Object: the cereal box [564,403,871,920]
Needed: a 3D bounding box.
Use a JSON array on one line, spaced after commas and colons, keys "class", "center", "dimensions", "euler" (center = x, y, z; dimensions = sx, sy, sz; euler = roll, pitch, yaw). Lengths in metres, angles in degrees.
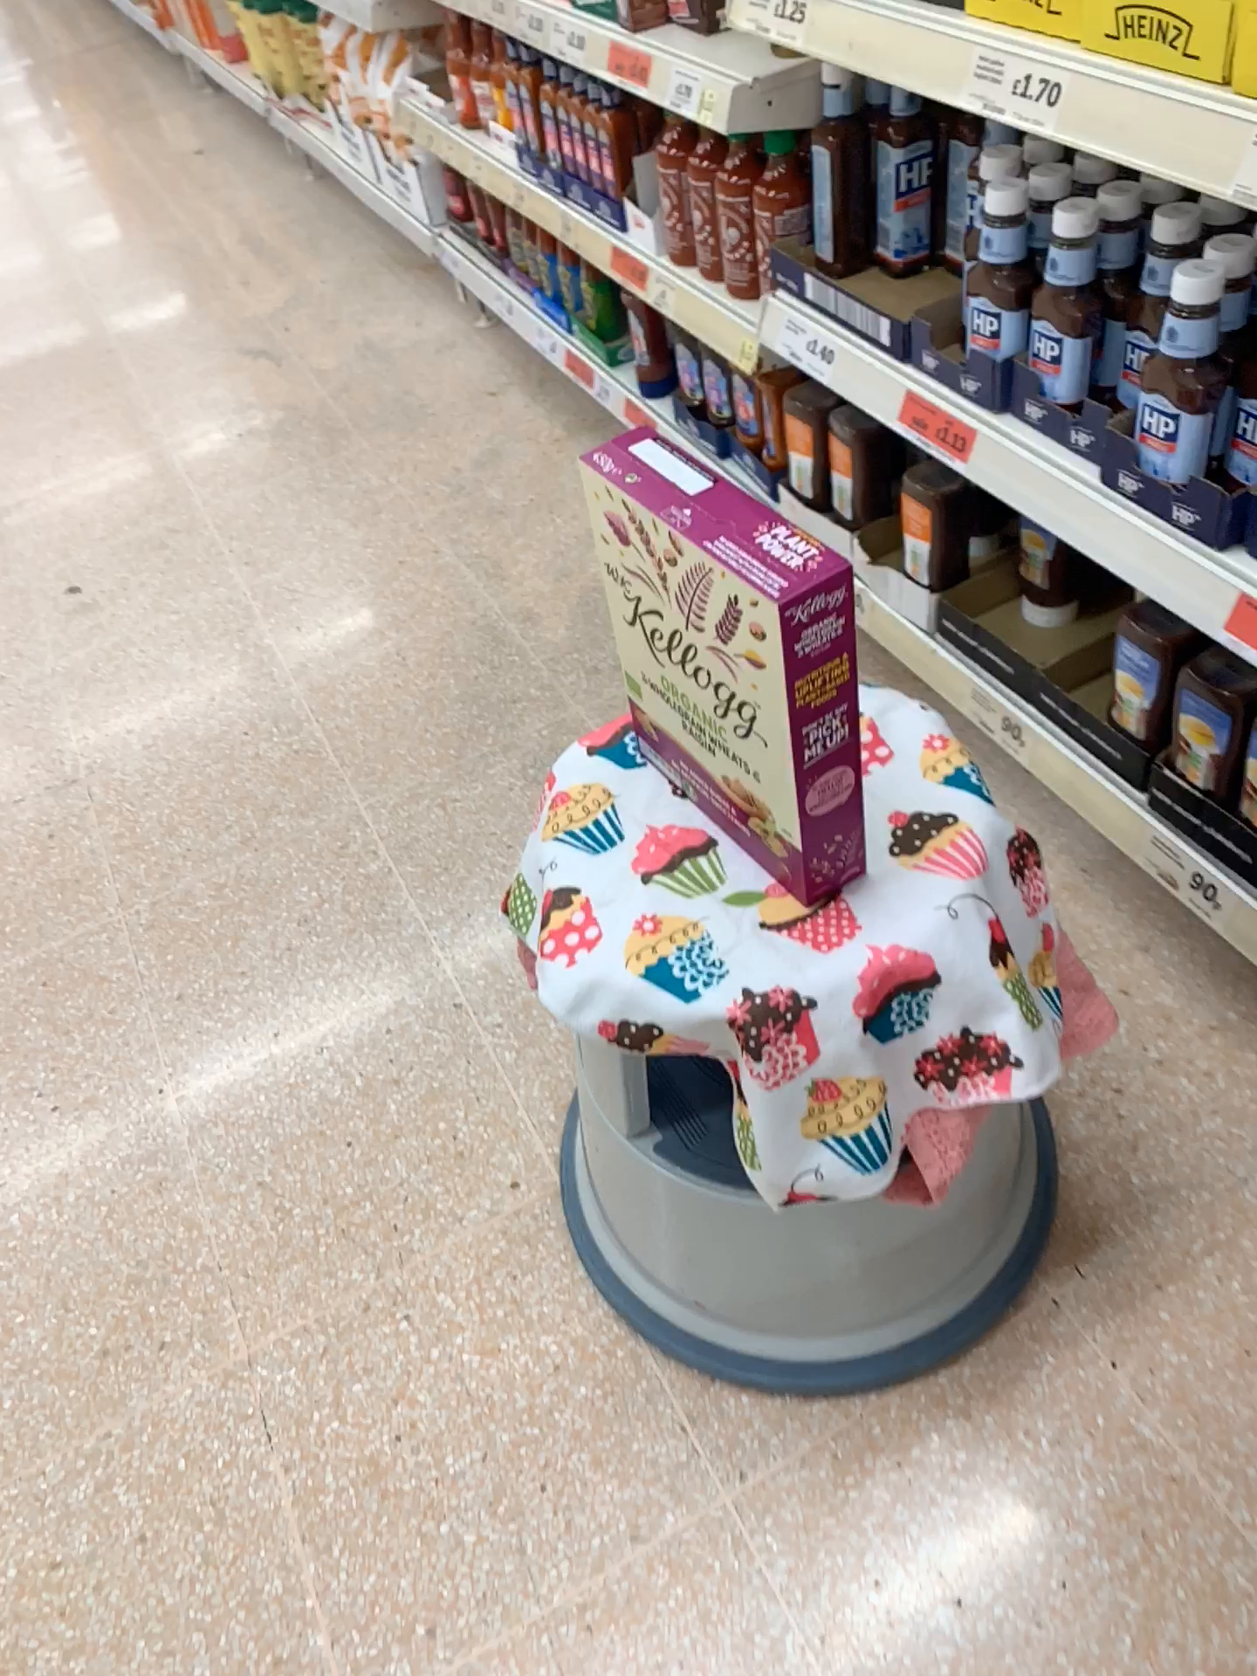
[{"class": "cereal box", "center": [0.056, -0.103, 0.768], "dimensions": [0.050, 0.248, 0.202], "euler": [-29, 47, -15]}]
